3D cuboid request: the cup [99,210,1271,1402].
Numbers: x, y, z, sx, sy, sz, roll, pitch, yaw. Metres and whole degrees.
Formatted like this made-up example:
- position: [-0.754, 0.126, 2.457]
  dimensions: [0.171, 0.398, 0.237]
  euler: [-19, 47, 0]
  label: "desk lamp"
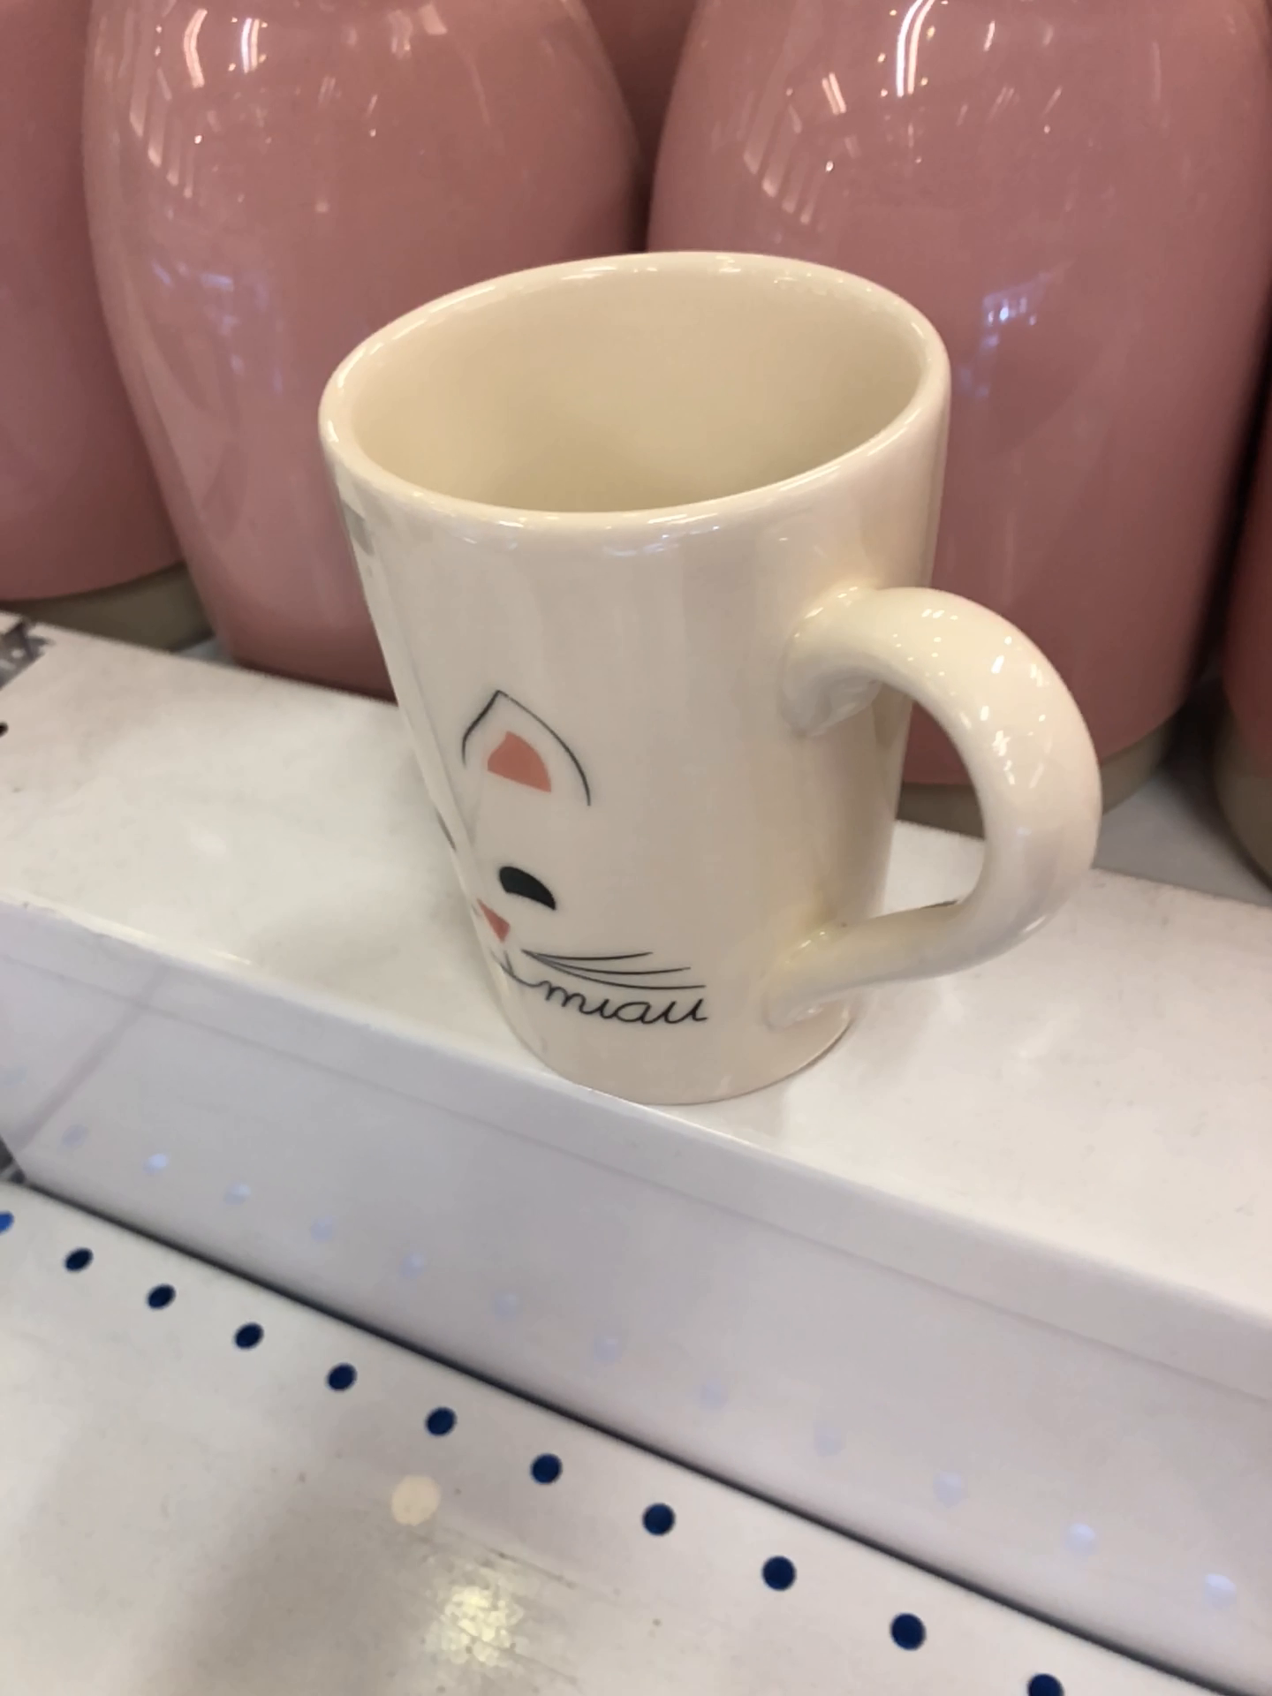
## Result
- position: [0.008, -0.013, 0.193]
  dimensions: [0.110, 0.099, 0.080]
  euler: [29, 53, 33]
  label: "cup"
